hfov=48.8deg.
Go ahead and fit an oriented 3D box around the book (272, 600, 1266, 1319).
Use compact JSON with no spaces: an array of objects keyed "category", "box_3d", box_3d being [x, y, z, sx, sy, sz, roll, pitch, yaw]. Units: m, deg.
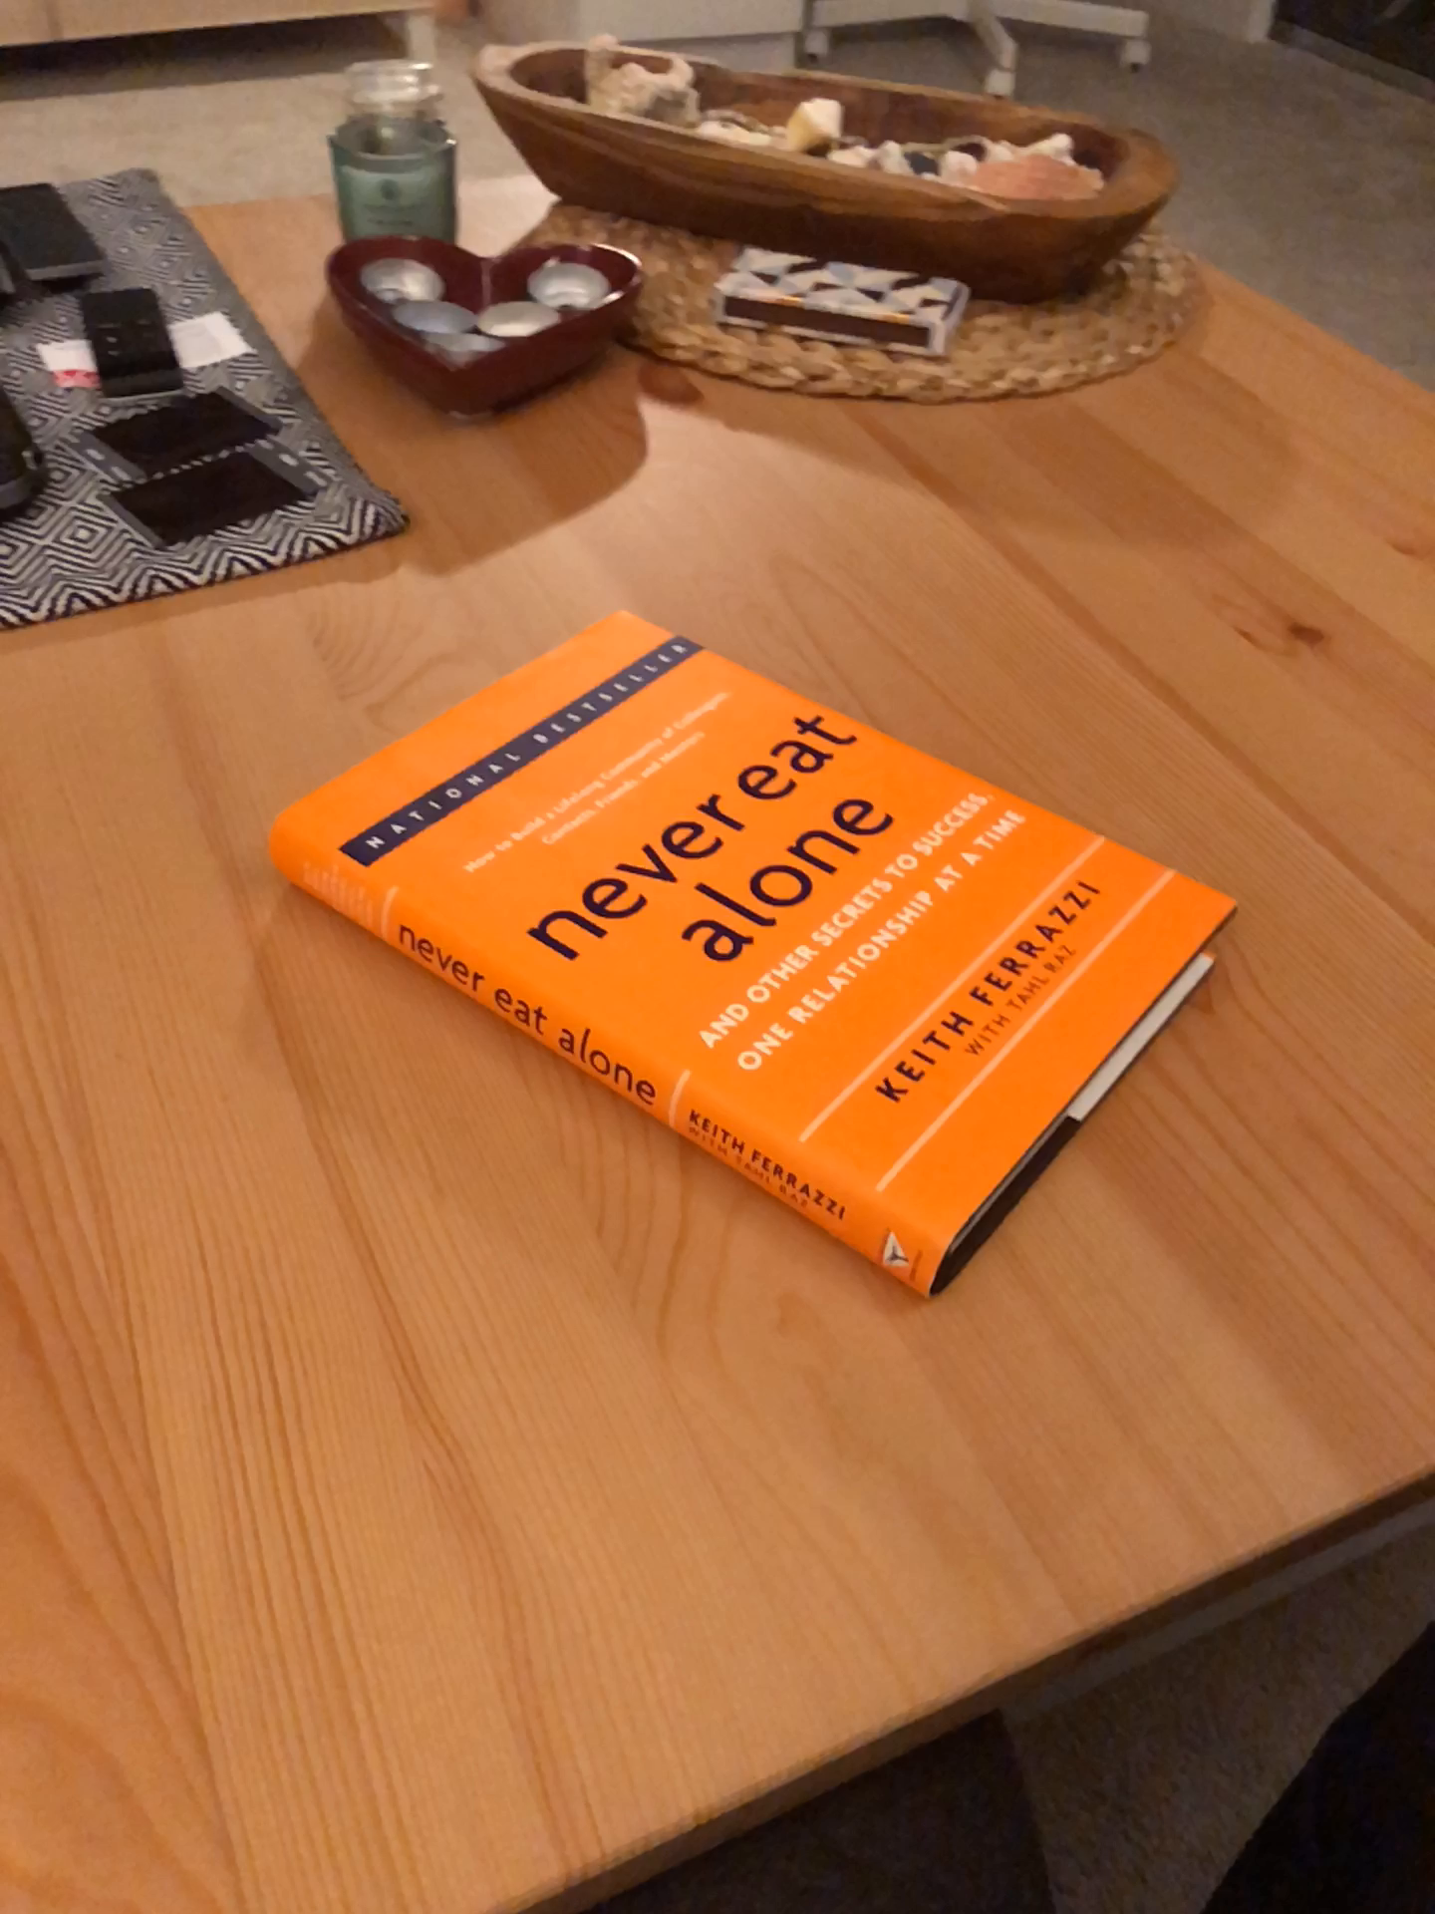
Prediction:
[{"category":"book","box_3d":[0.014,-0.020,0.472,0.240,0.025,0.167,30,49,25]}]
